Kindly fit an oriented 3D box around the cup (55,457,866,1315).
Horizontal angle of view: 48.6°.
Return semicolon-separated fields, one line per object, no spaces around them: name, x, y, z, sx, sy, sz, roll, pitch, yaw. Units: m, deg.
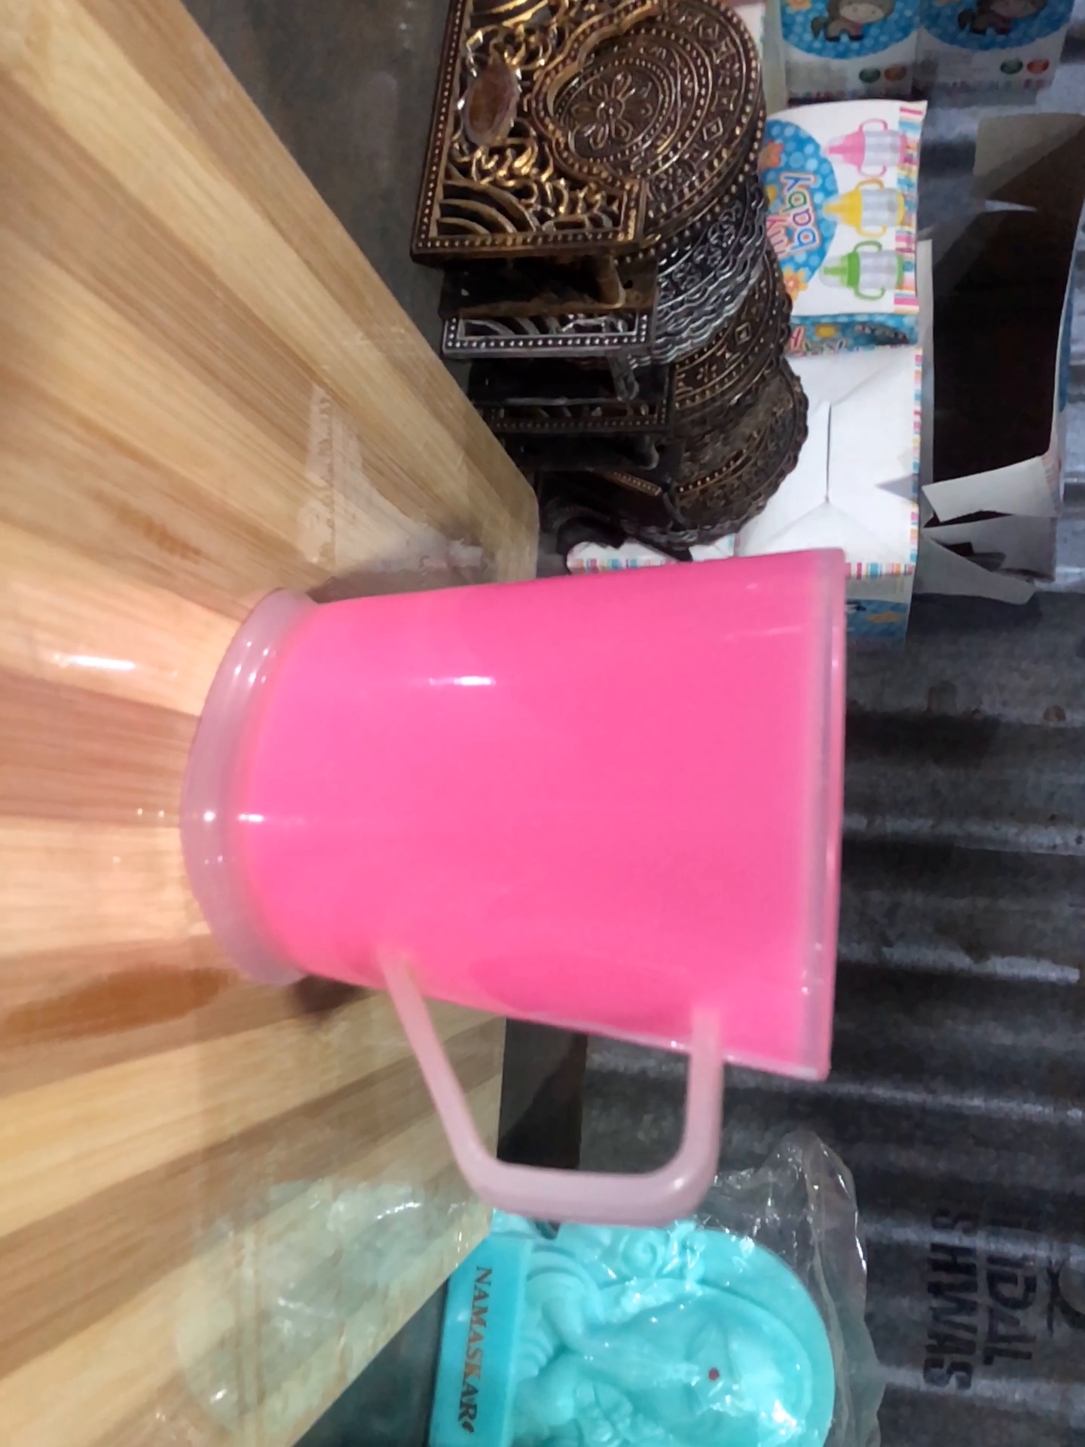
cup;0.000;0.024;0.205;0.070;0.100;0.120;74;22;-58
